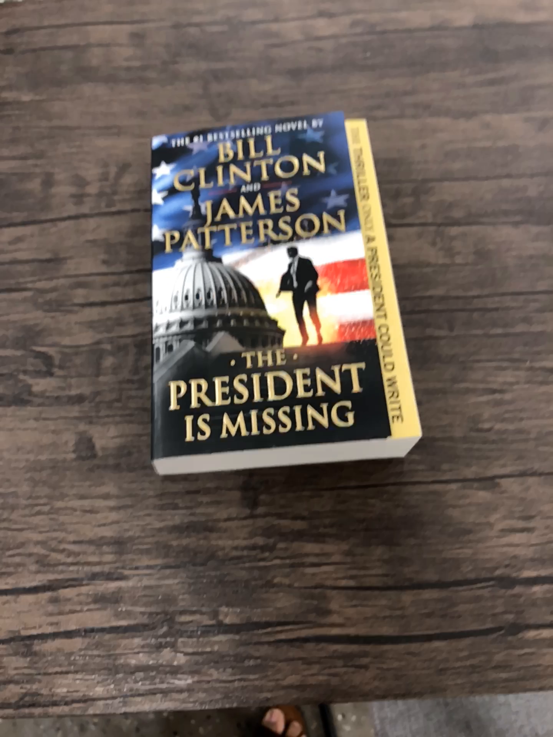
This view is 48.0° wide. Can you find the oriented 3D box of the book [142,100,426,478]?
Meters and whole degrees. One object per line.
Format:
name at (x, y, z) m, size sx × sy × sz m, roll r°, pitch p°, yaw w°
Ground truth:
book at (-0.005, -0.053, 0.371) m, size 0.140 × 0.054 × 0.216 m, roll -5°, pitch 67°, yaw -1°
